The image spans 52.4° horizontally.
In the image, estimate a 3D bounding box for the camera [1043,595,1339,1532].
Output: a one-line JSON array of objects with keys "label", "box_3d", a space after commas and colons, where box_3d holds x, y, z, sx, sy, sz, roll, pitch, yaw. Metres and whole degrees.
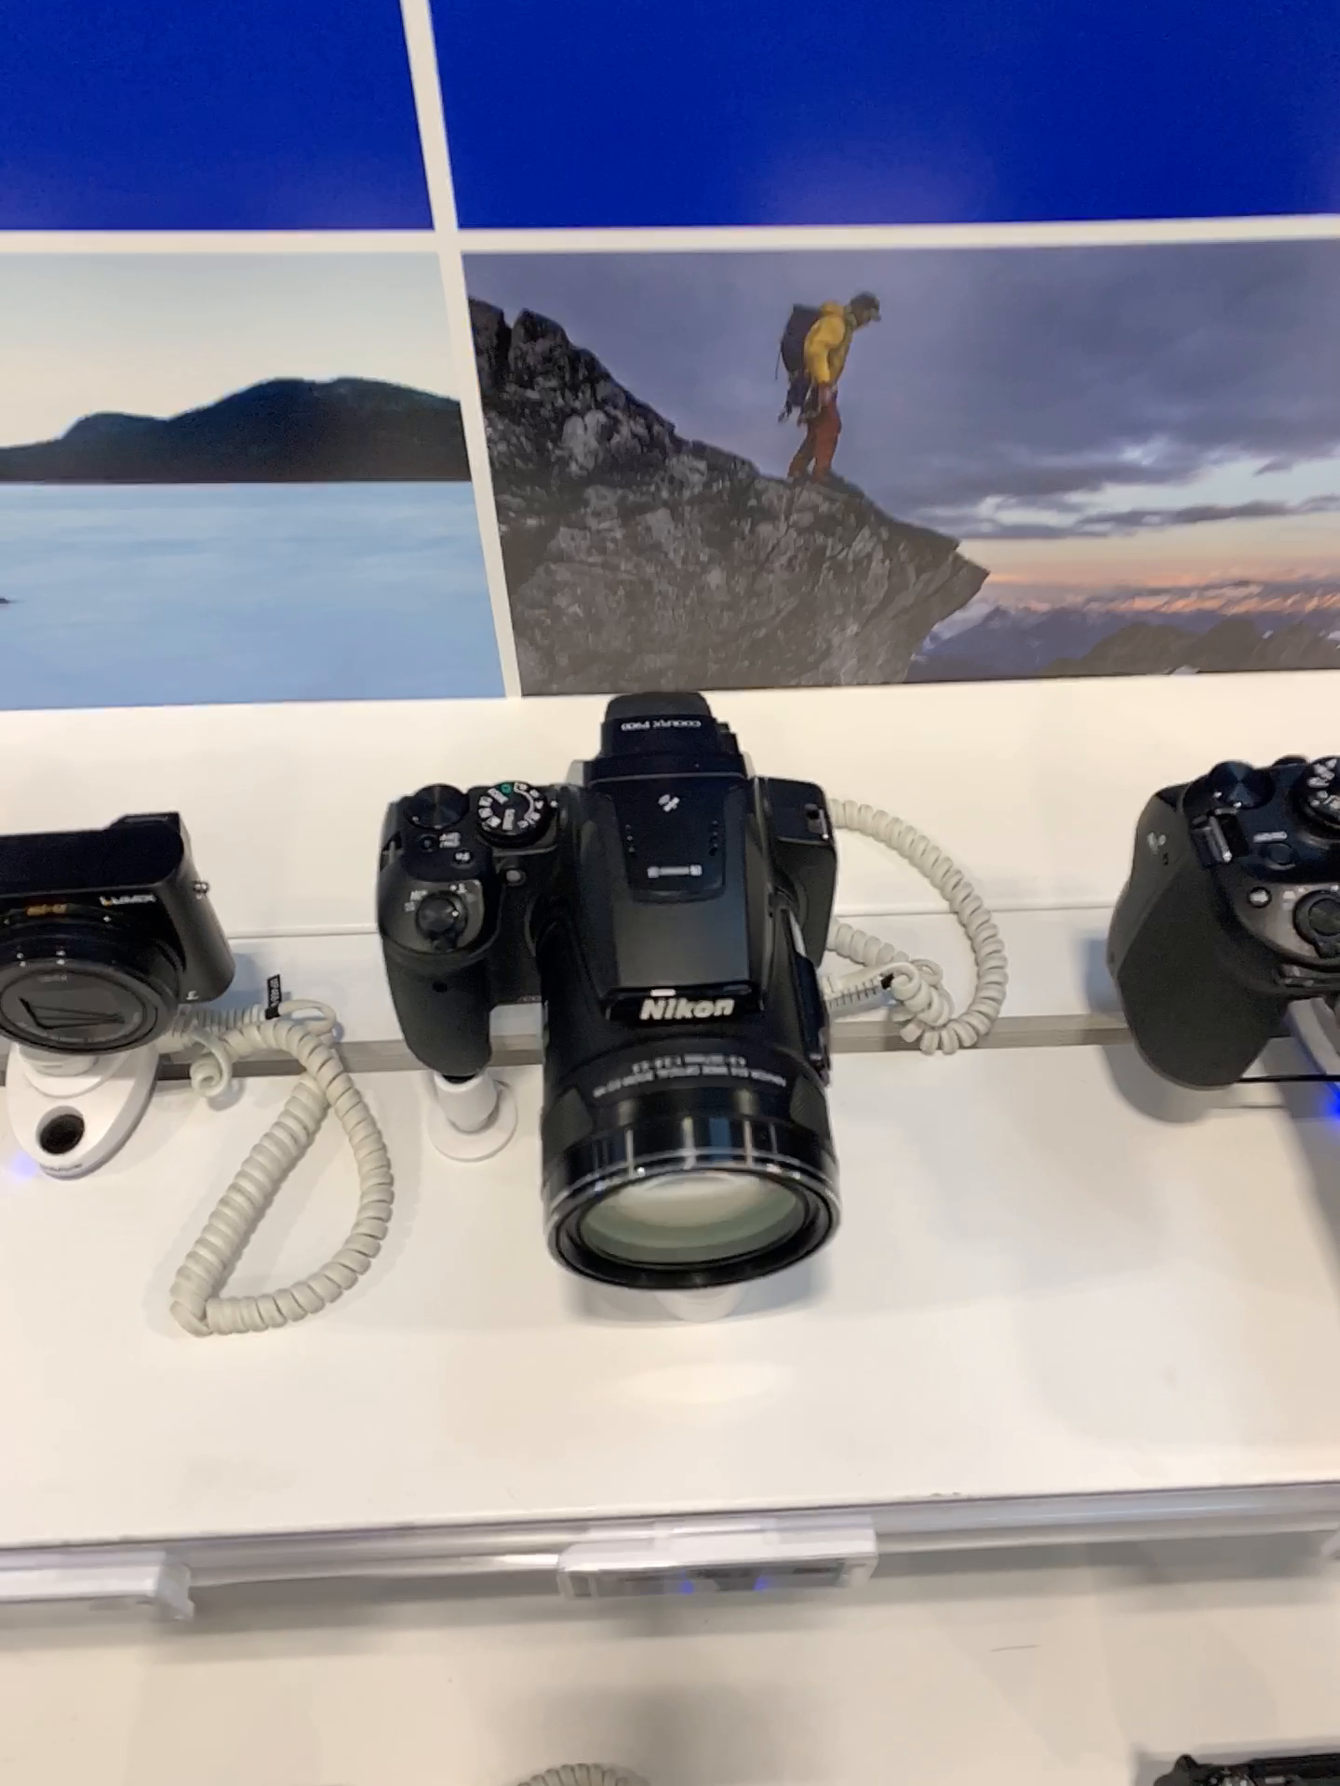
[{"label": "camera", "box_3d": [0.220, 0.038, 0.375, 0.160, 0.110, 0.221, -4, 53, -2]}]

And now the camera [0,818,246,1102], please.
[{"label": "camera", "box_3d": [-0.197, 0.021, 0.414, 0.110, 0.070, 0.050, -3, 53, -1]}]

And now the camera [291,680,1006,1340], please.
[{"label": "camera", "box_3d": [-0.008, 0.032, 0.390, 0.160, 0.100, 0.151, -3, 53, -1]}]
